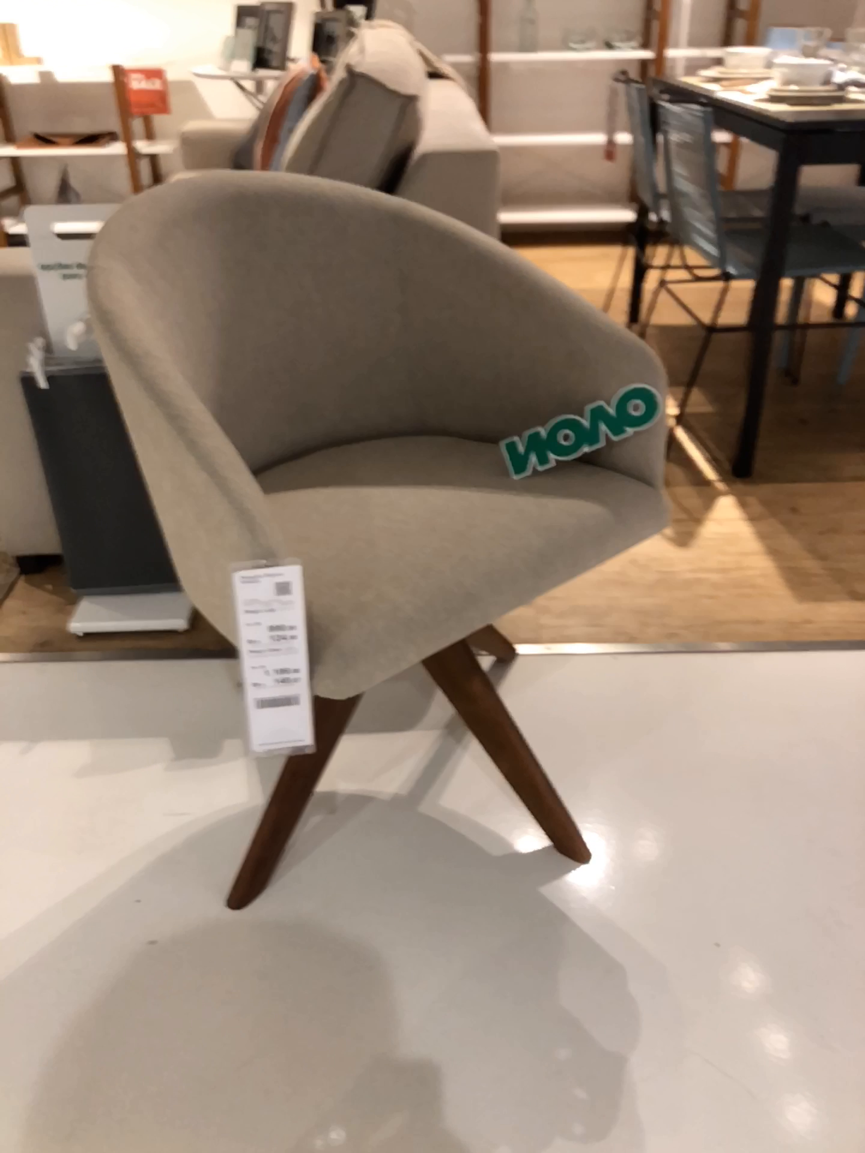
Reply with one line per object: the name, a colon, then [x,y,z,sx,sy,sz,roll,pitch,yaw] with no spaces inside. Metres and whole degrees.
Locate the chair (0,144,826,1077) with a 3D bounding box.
chair: [-0.074,-0.067,1.244,0.692,0.794,0.713,-25,38,-34]
